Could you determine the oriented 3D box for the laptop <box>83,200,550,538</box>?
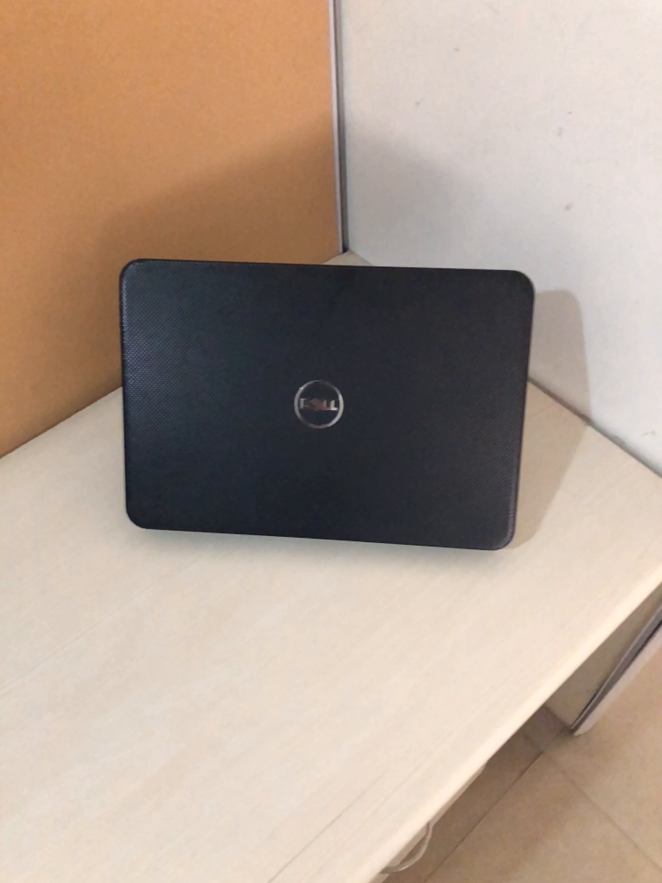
[{"bbox_3d":[0.001,-0.074,0.696,0.351,0.179,0.256,3,51,3],"label":"laptop"}]
